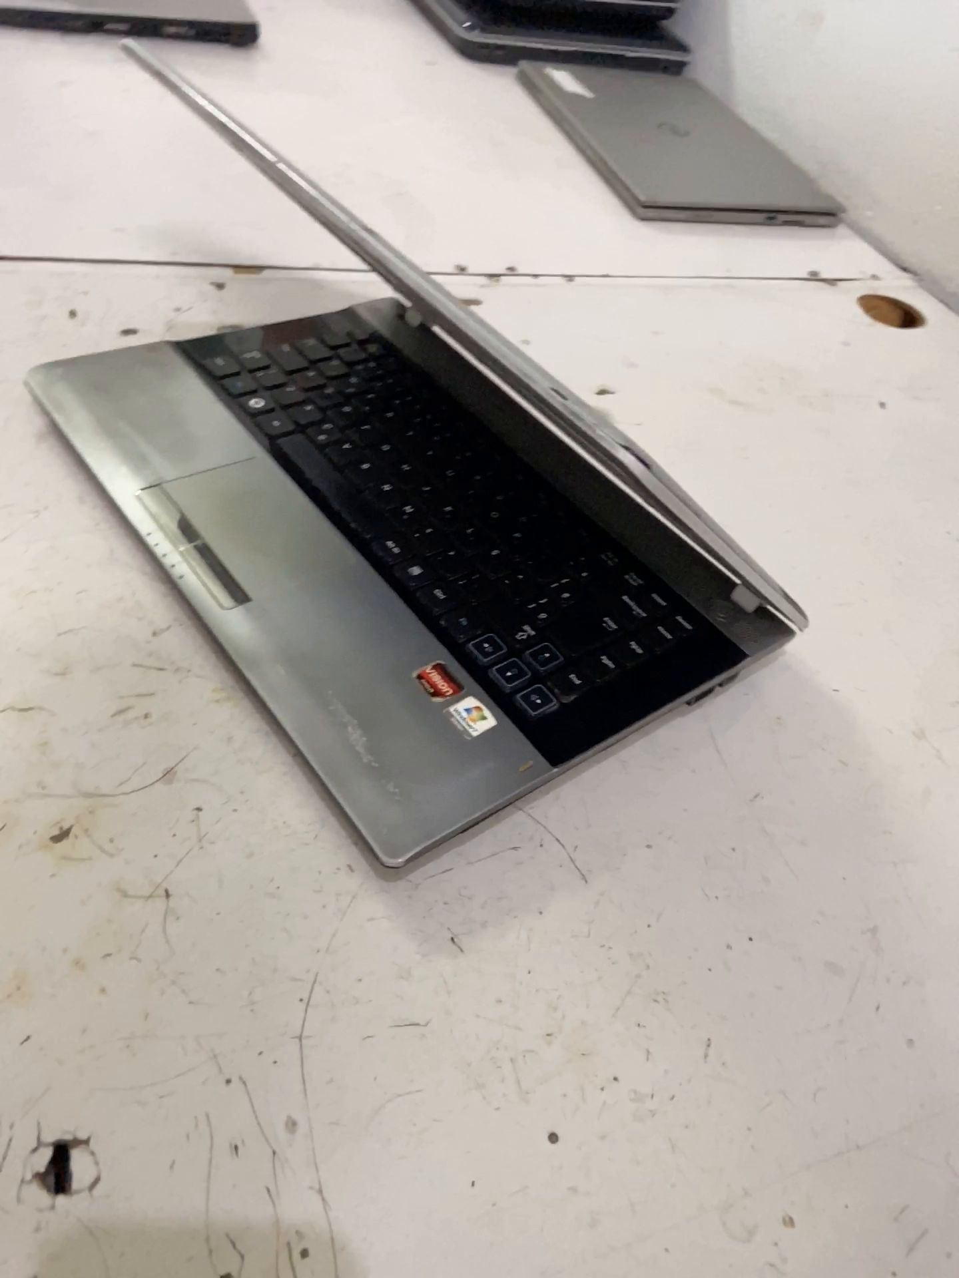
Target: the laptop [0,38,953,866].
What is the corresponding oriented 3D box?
[{"bbox_3d":[-0.032,-0.122,0.443,0.234,0.150,0.345,-24,56,-31],"label":"laptop"}]
